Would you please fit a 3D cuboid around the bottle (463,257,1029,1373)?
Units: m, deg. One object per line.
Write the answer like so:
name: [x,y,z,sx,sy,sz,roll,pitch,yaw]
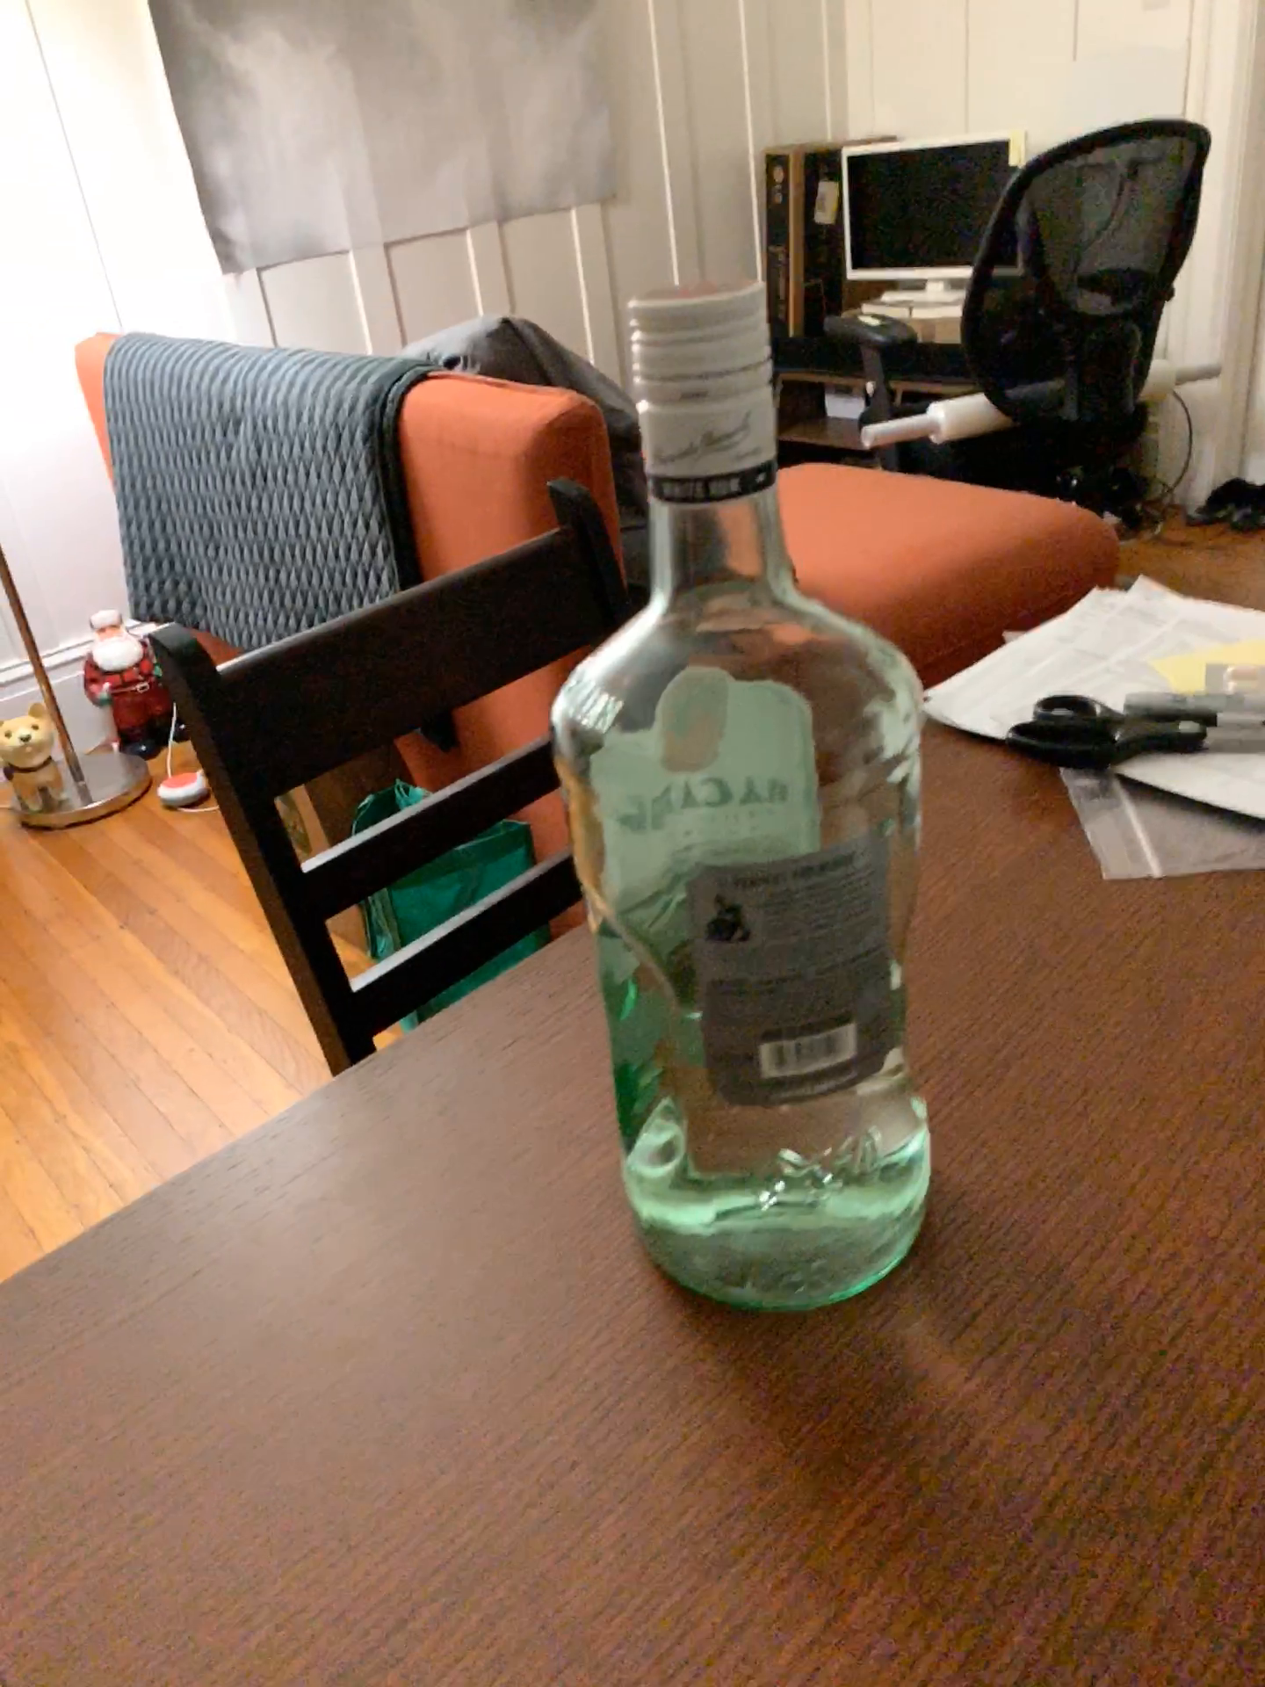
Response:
bottle: [0.039,0.000,0.424,0.120,0.328,0.121,-6,29,3]
